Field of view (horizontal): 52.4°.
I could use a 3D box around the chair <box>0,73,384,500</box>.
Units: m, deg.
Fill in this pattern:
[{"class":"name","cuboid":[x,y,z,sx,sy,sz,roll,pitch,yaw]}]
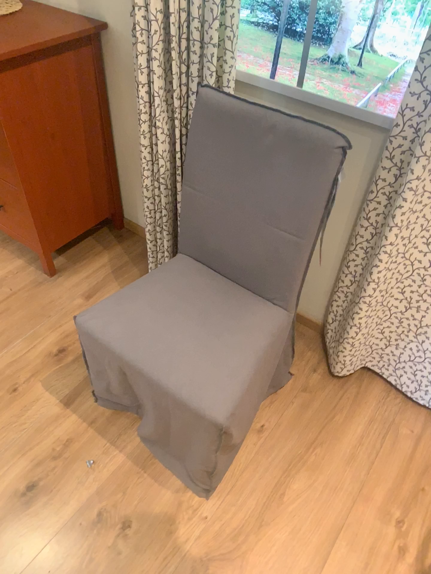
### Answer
[{"class":"chair","cuboid":[-0.050,0.009,1.231,0.571,0.877,0.591,30,50,24]}]
